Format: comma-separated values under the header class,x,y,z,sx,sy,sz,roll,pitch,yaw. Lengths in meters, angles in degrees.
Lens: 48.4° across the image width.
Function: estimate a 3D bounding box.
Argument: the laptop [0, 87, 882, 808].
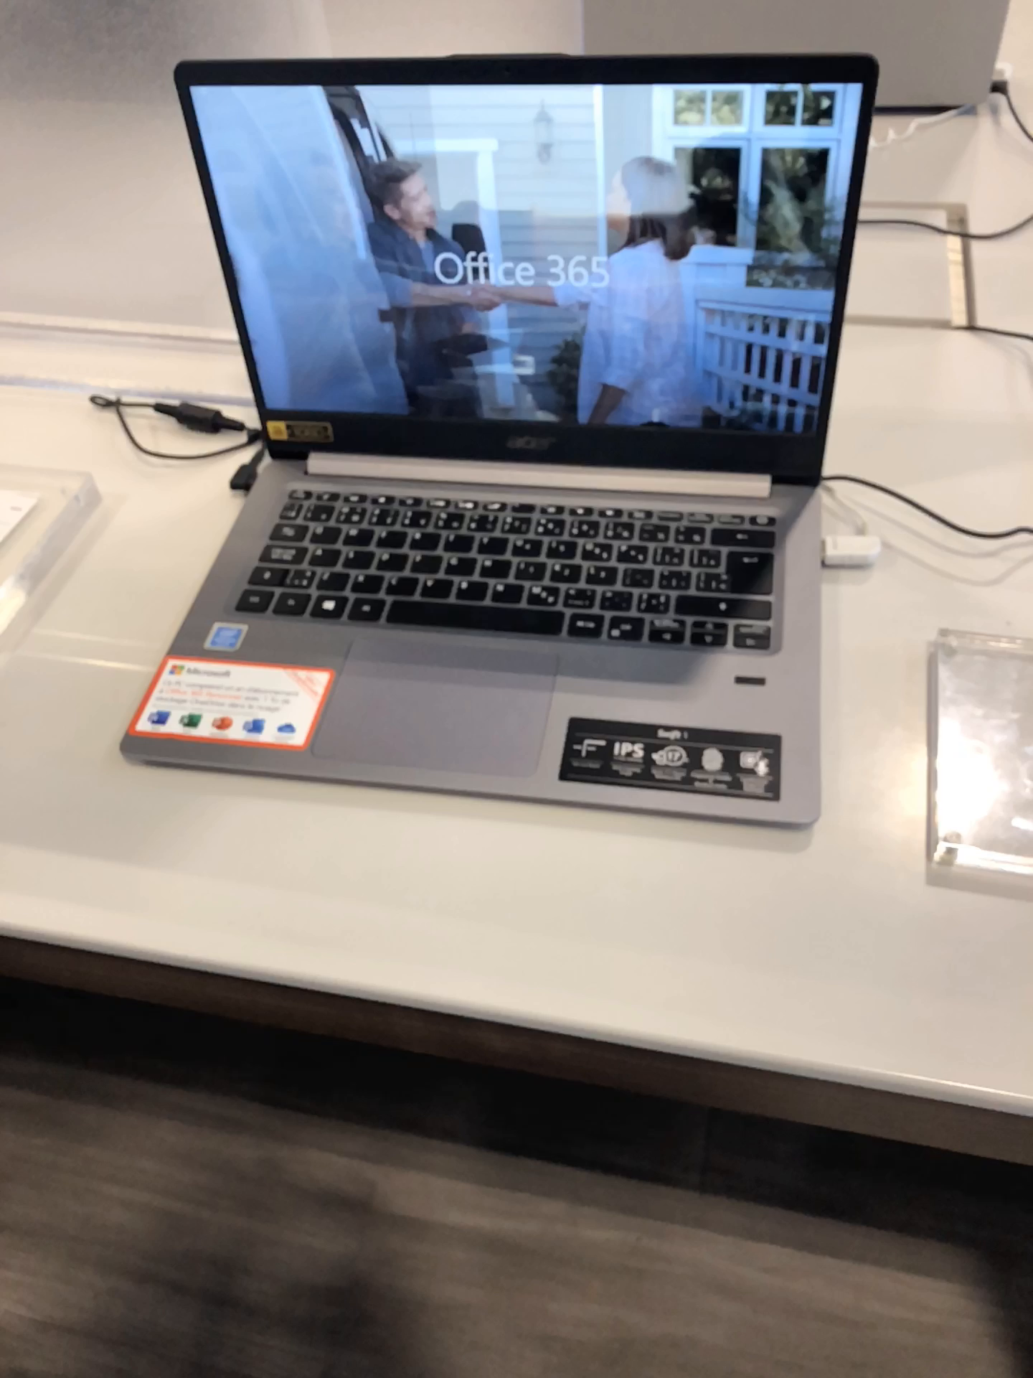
class,x,y,z,sx,sy,sz,roll,pitch,yaw
laptop,-0.015,-0.112,0.508,0.306,0.205,0.225,5,49,9
